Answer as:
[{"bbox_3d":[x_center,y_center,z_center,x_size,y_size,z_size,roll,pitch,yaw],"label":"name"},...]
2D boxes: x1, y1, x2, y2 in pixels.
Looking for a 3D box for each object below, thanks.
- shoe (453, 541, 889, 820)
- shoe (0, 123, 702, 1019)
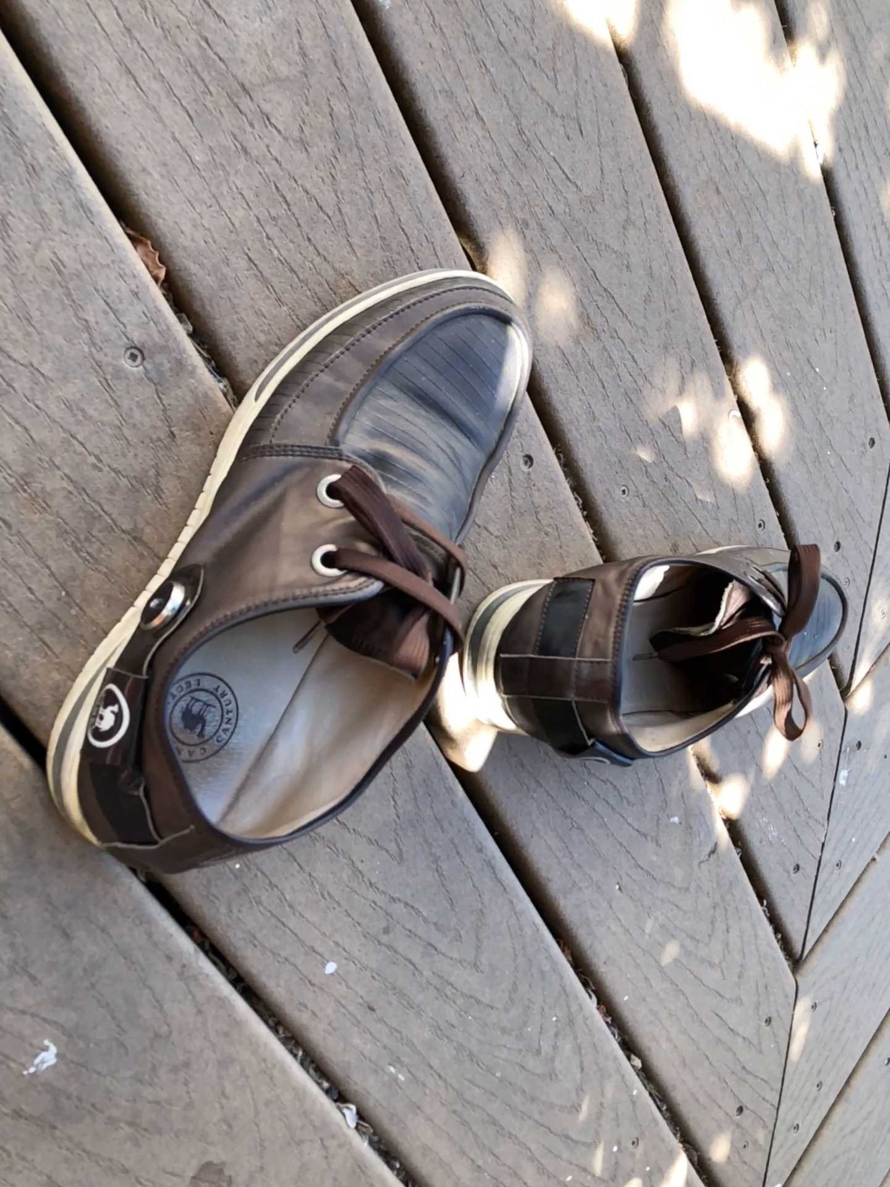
[{"bbox_3d":[0.163,0.031,0.542,0.305,0.116,0.110,-2,97,-38],"label":"shoe"},{"bbox_3d":[-0.035,-0.018,0.384,0.111,0.116,0.302,40,72,-34],"label":"shoe"}]
